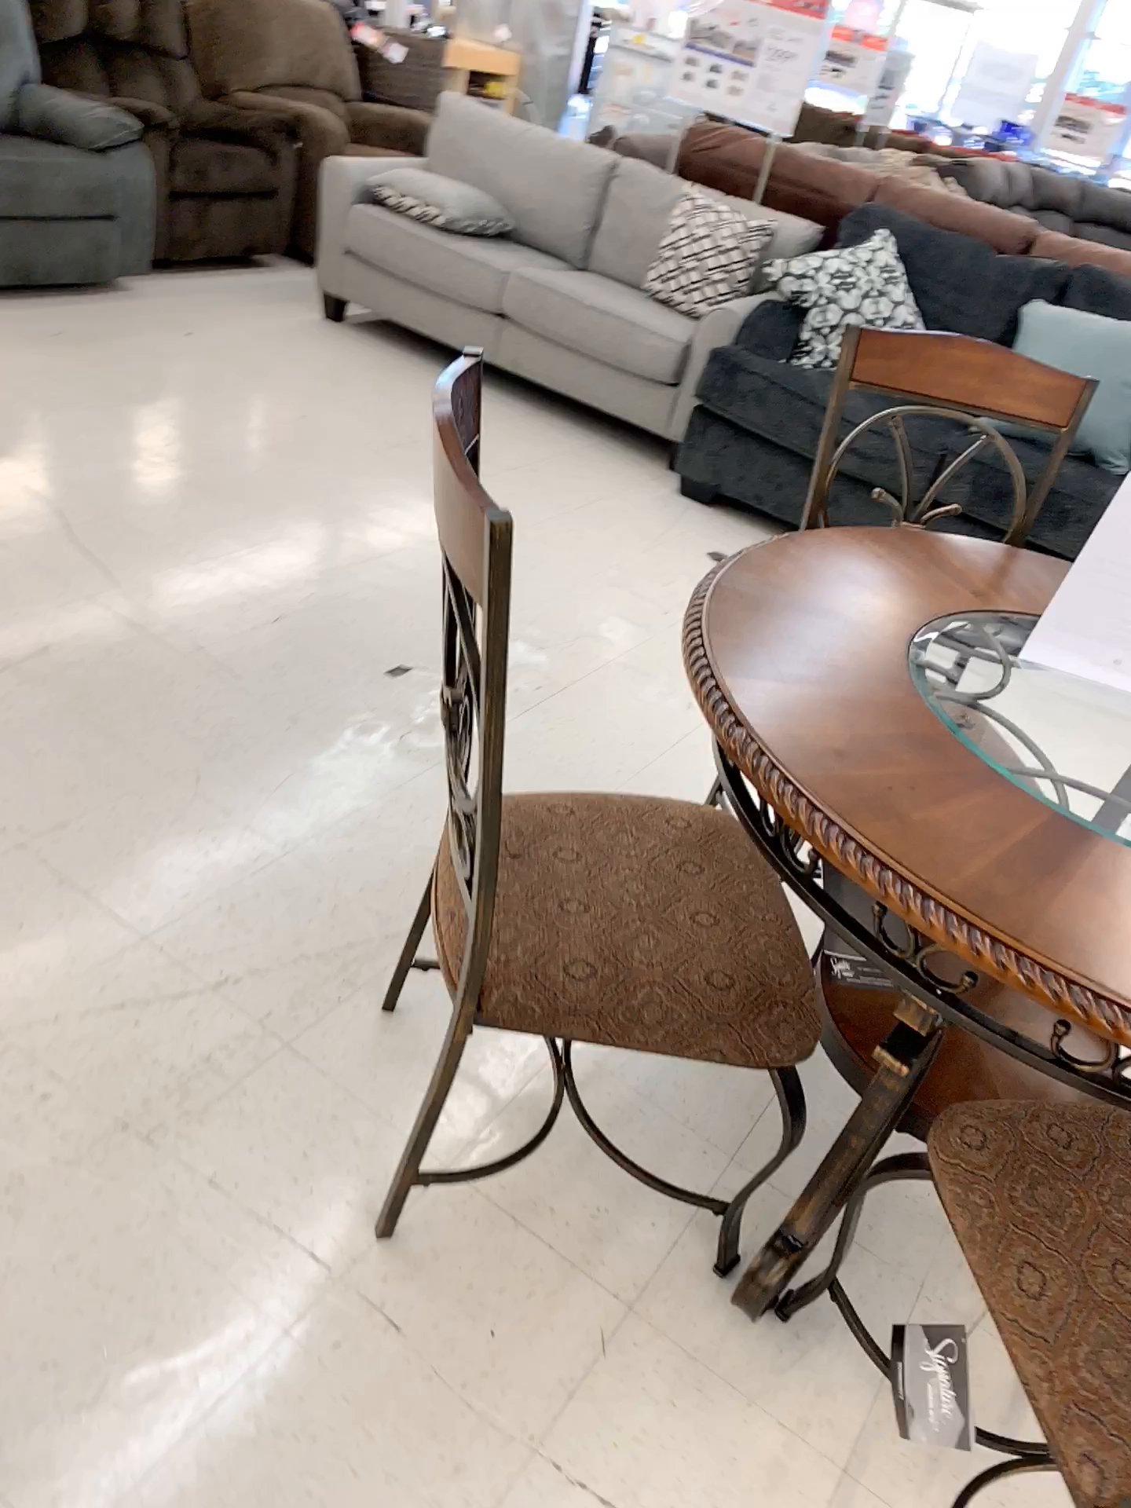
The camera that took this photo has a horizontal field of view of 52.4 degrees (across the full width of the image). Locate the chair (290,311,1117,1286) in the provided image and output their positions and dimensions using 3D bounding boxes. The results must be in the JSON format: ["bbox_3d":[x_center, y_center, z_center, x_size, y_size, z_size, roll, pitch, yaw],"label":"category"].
[{"bbox_3d":[0.047,0.097,1.377,0.580,0.975,0.523,9,33,-10],"label":"chair"}]
